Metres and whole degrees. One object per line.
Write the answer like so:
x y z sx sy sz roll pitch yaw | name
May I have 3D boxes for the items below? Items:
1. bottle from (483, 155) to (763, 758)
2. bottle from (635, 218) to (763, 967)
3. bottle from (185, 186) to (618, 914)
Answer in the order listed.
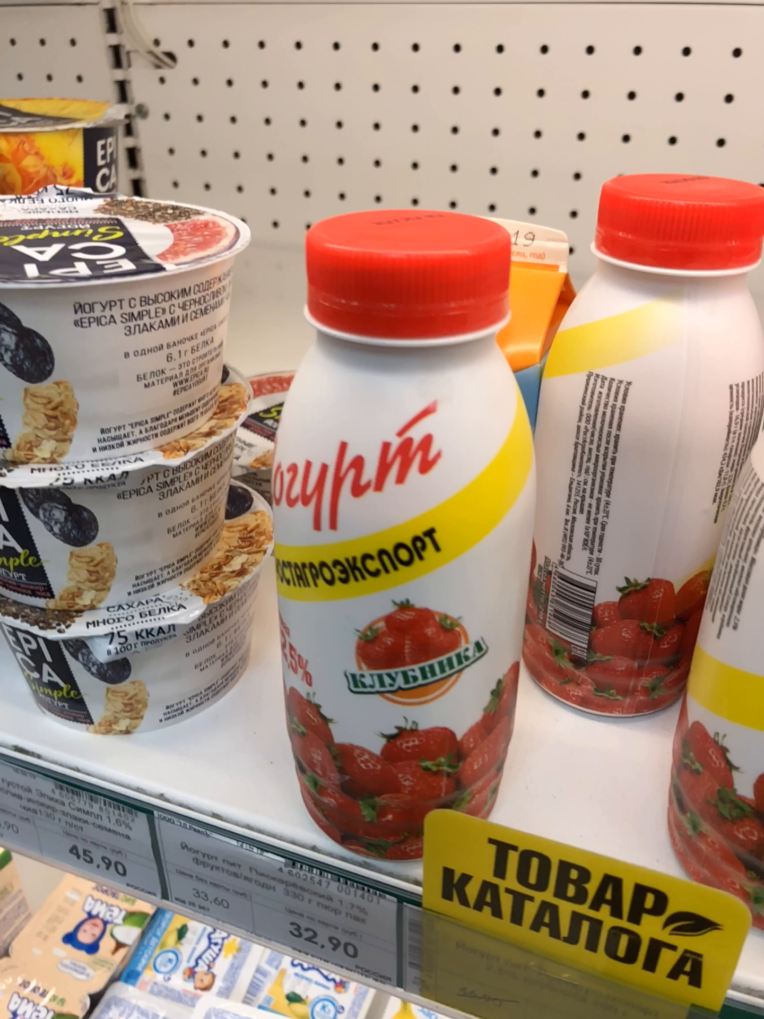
0.069 -0.012 0.232 0.052 0.146 0.055 -1 31 0 | bottle
0.099 0.023 0.175 0.058 0.146 0.057 -1 31 0 | bottle
0.003 0.011 0.196 0.057 0.146 0.058 -1 31 0 | bottle
